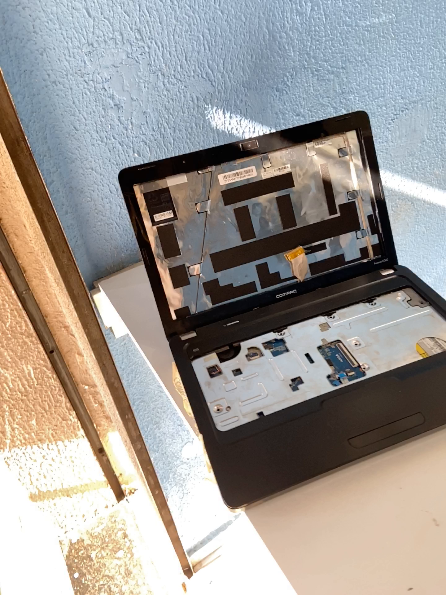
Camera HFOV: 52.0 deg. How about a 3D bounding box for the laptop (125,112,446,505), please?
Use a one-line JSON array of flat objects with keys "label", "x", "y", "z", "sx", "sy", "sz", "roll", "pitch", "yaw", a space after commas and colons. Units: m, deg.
[{"label": "laptop", "x": 0.099, "y": -0.031, "z": 0.514, "sx": 0.332, "sy": 0.182, "sz": 0.337, "roll": -17, "pitch": 40, "yaw": -10}]
